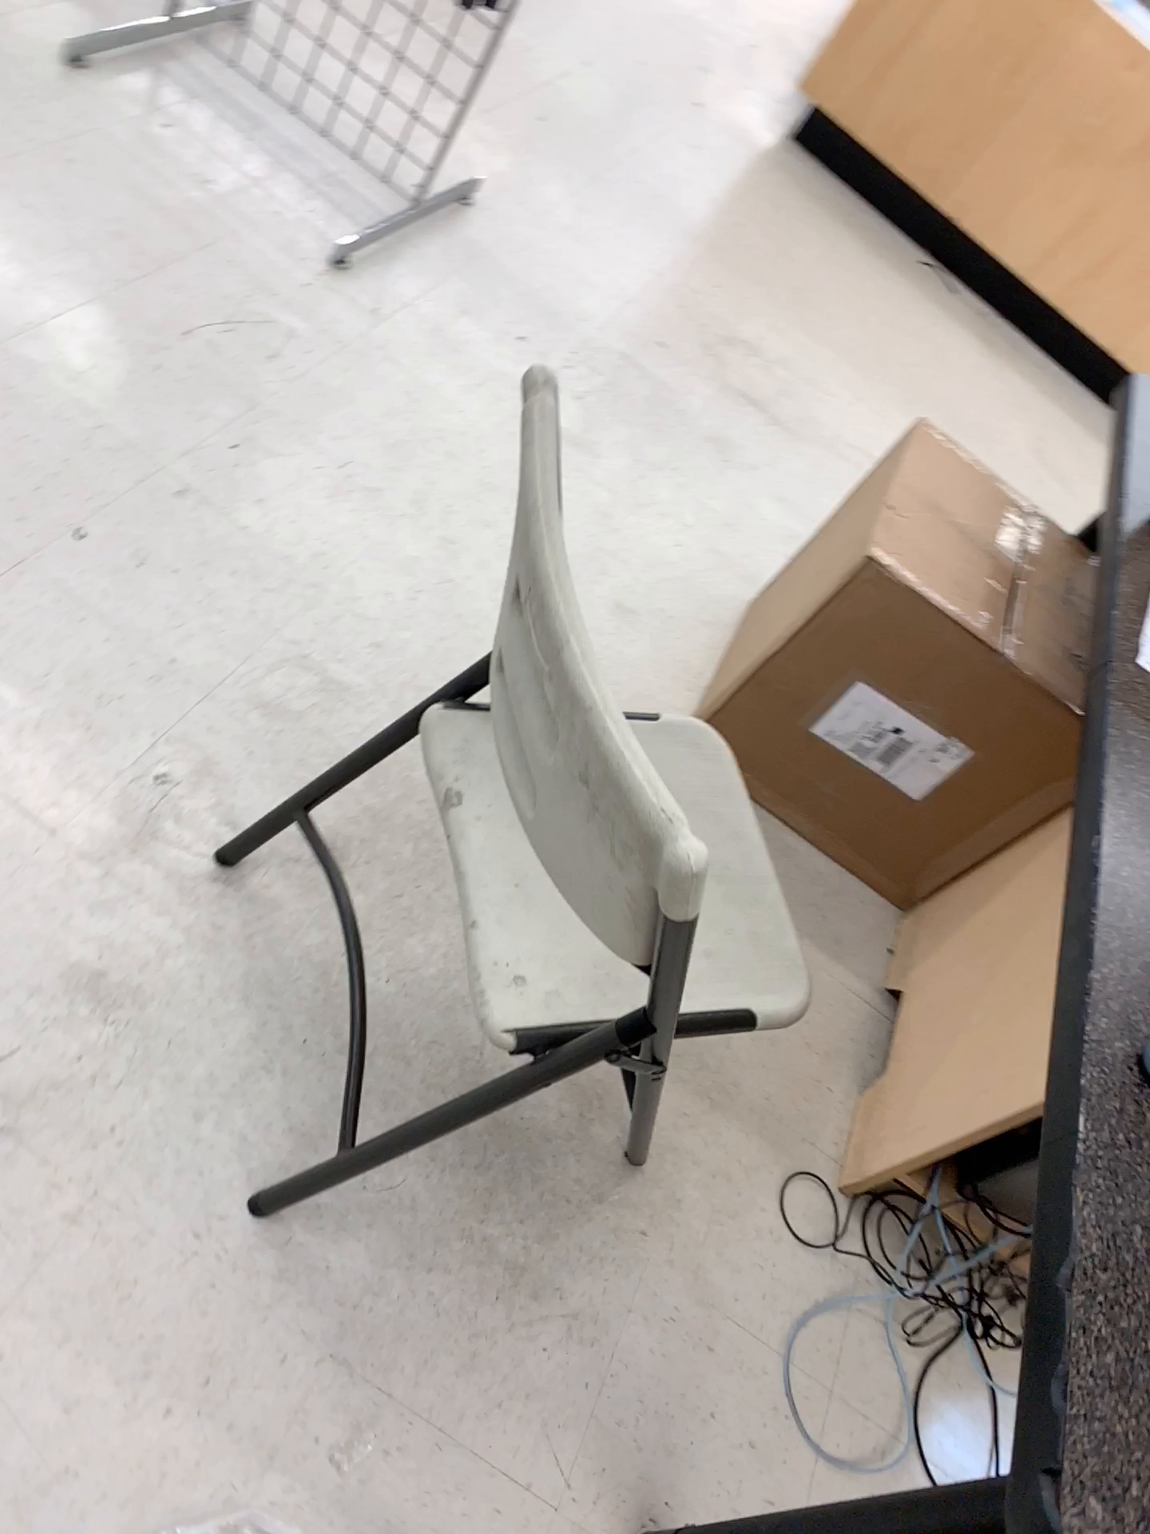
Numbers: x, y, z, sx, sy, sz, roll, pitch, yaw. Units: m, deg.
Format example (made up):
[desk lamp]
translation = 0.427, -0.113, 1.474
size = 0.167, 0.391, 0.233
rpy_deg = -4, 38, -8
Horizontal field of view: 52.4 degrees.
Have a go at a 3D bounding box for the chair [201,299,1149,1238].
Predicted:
[chair]
translation = 0.018, 0.072, 1.201
size = 0.562, 0.746, 0.531
rpy_deg = 4, 56, -32
